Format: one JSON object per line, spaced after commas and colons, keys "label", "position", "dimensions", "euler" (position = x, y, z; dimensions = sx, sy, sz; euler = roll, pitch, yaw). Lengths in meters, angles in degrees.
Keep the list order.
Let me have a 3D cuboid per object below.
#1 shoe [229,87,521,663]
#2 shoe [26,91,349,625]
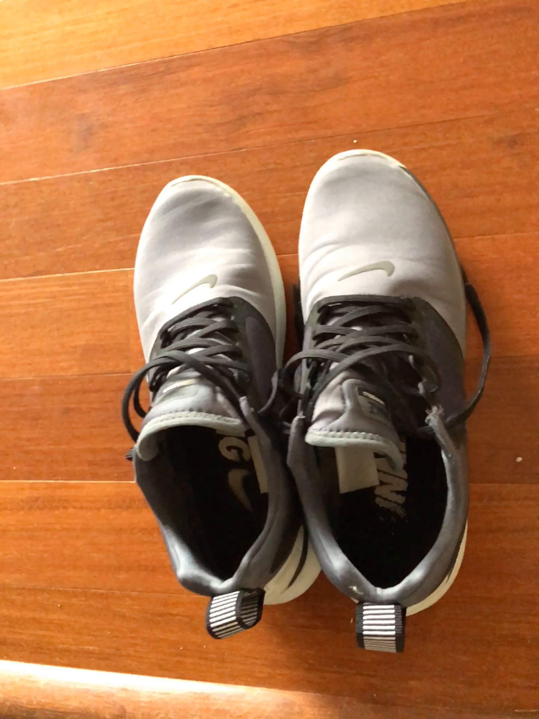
{"label": "shoe", "position": [0.054, 0.009, 0.310], "dimensions": [0.110, 0.100, 0.240], "euler": [-5, 86, 15]}
{"label": "shoe", "position": [-0.040, 0.002, 0.335], "dimensions": [0.110, 0.100, 0.240], "euler": [-12, 84, 15]}
